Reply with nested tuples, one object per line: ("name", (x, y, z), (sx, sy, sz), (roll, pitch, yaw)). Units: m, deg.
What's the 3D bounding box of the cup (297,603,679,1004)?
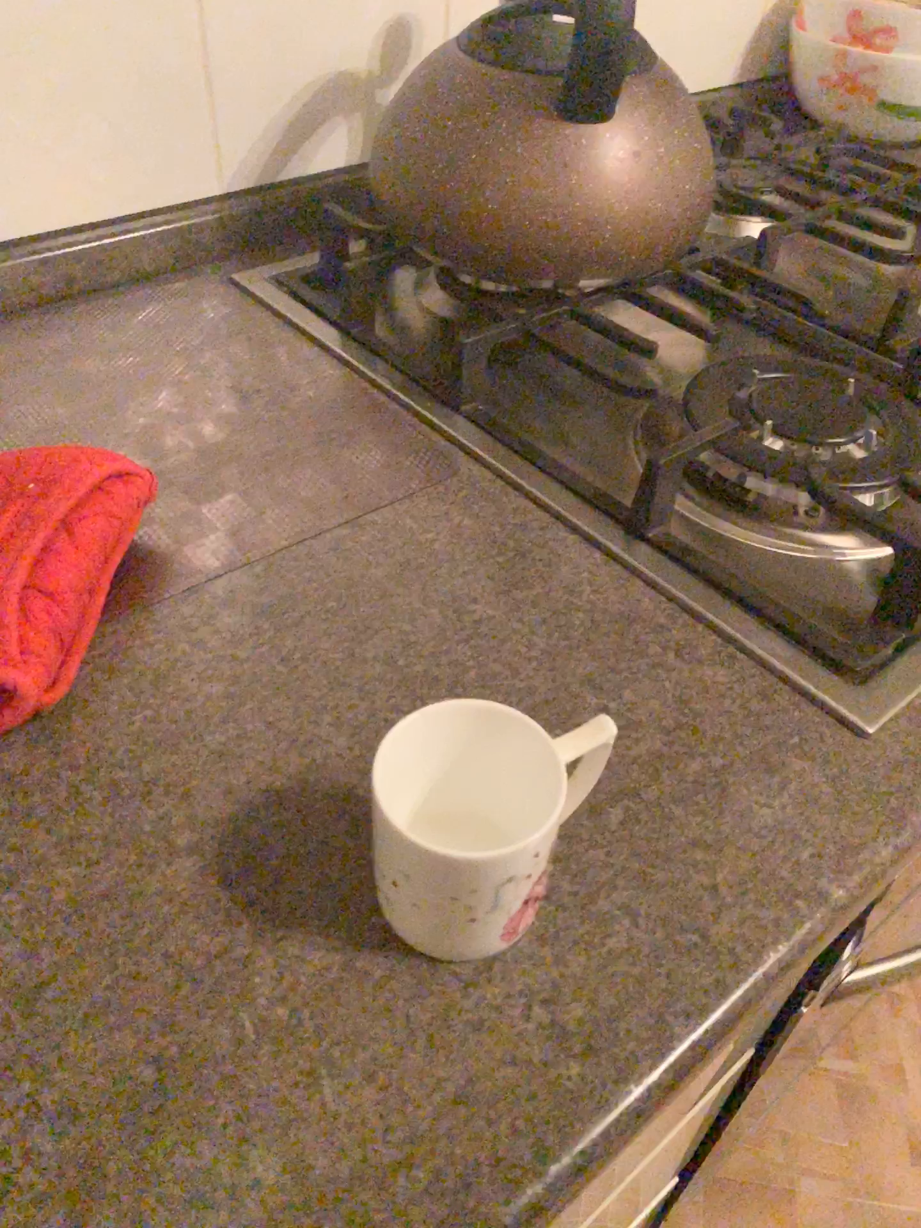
("cup", (0.007, 0.054, 0.291), (0.089, 0.061, 0.064), (-26, 50, -28))
